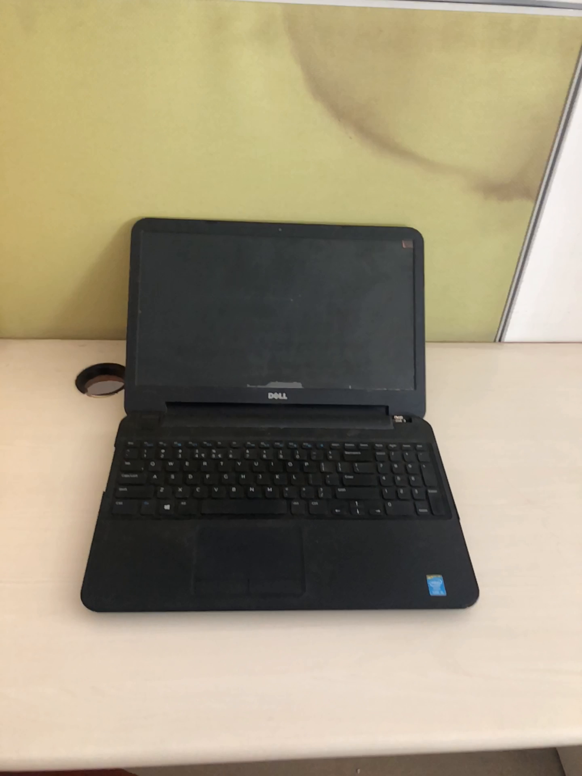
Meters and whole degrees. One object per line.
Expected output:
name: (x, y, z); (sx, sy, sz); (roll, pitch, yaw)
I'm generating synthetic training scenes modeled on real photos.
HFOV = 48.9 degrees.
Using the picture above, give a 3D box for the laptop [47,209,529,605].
laptop: (-0.009, -0.012, 0.680); (0.355, 0.158, 0.430); (1, 41, -4)
